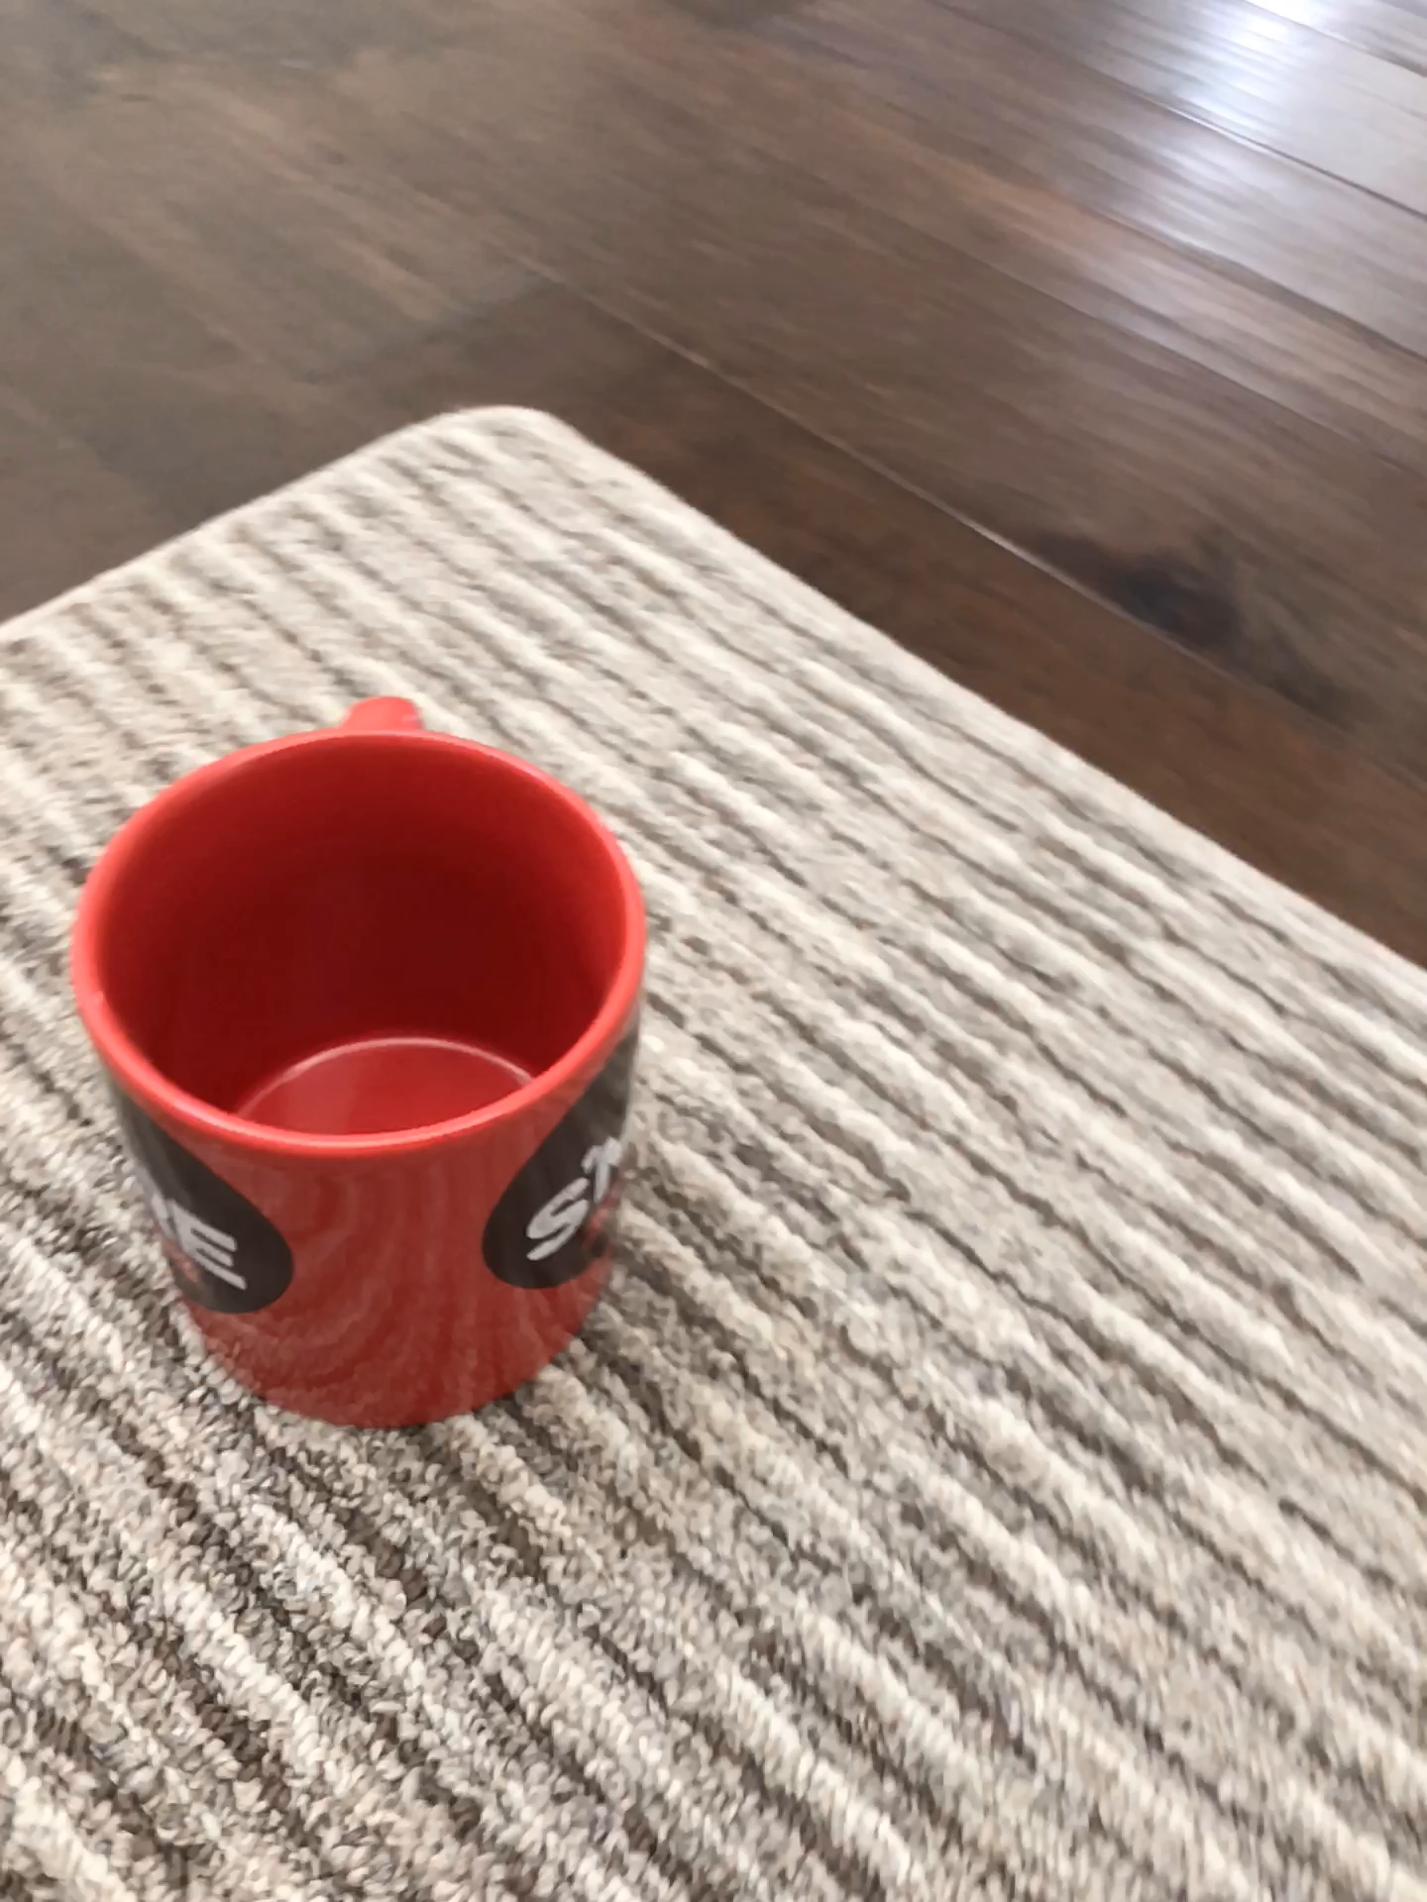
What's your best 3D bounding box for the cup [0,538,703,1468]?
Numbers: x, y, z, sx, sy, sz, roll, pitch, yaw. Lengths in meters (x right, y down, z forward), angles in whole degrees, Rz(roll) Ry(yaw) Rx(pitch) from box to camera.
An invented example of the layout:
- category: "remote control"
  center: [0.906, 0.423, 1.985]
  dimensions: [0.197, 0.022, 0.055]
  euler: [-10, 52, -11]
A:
- category: "cup"
  center: [-0.068, 0.010, 0.337]
  dimensions: [0.110, 0.119, 0.151]
  euler: [0, 50, -7]
